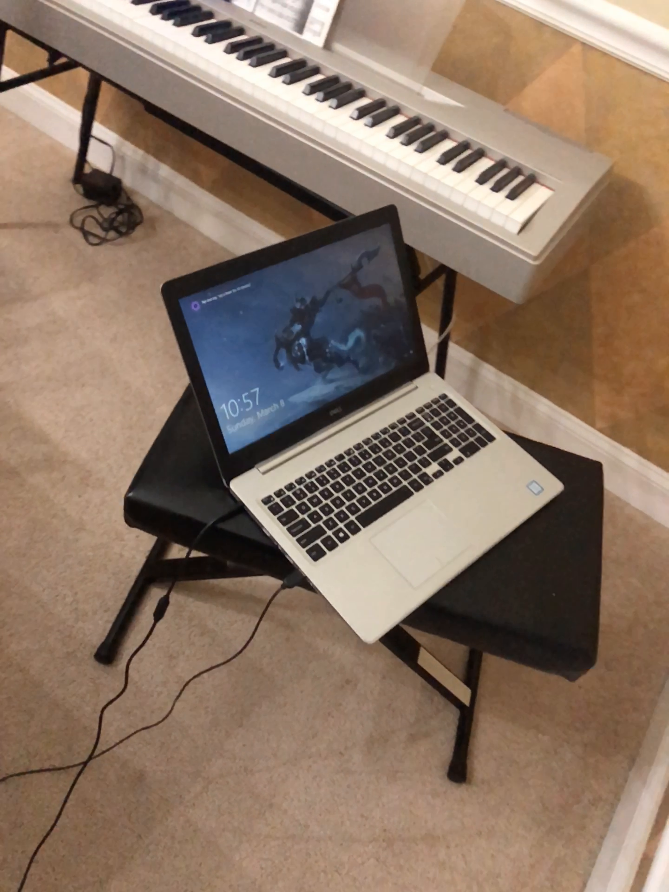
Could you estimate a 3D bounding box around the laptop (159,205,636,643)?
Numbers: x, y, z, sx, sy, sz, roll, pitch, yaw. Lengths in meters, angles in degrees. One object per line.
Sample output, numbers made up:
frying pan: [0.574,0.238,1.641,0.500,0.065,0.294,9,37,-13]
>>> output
laptop: [0.064,-0.059,0.895,0.375,0.183,0.409,-30,64,-33]
